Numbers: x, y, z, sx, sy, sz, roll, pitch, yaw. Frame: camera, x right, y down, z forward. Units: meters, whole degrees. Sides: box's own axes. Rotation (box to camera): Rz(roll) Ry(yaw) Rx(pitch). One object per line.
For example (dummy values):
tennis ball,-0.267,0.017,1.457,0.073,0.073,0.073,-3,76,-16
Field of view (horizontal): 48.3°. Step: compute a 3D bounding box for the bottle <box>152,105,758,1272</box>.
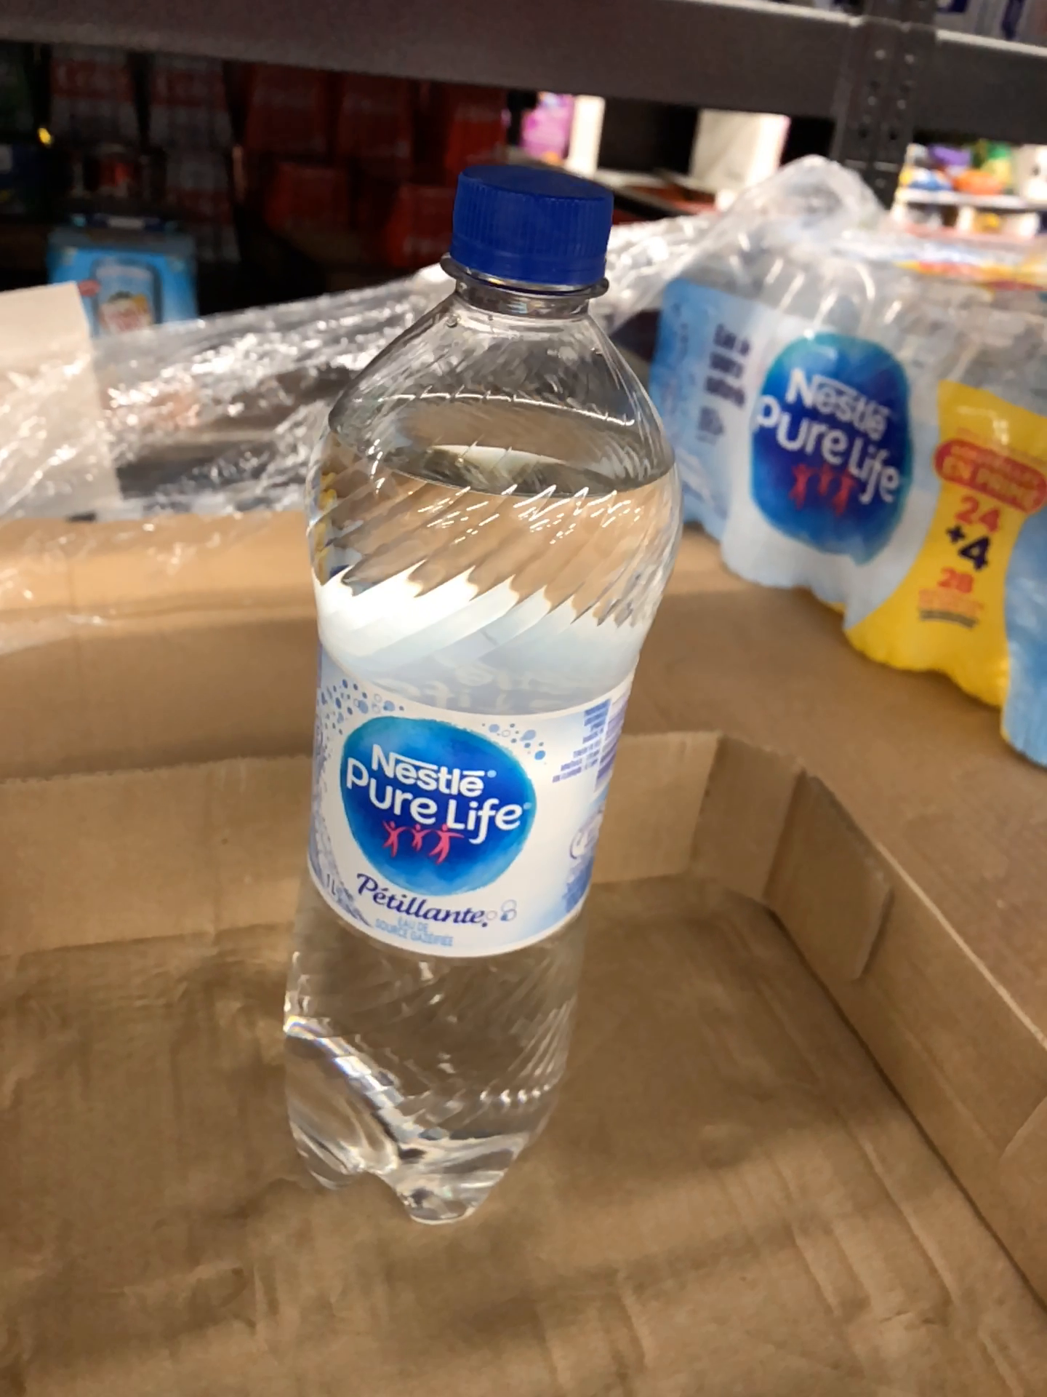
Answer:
bottle,-0.021,0.005,0.310,0.100,0.278,0.101,6,29,-3
